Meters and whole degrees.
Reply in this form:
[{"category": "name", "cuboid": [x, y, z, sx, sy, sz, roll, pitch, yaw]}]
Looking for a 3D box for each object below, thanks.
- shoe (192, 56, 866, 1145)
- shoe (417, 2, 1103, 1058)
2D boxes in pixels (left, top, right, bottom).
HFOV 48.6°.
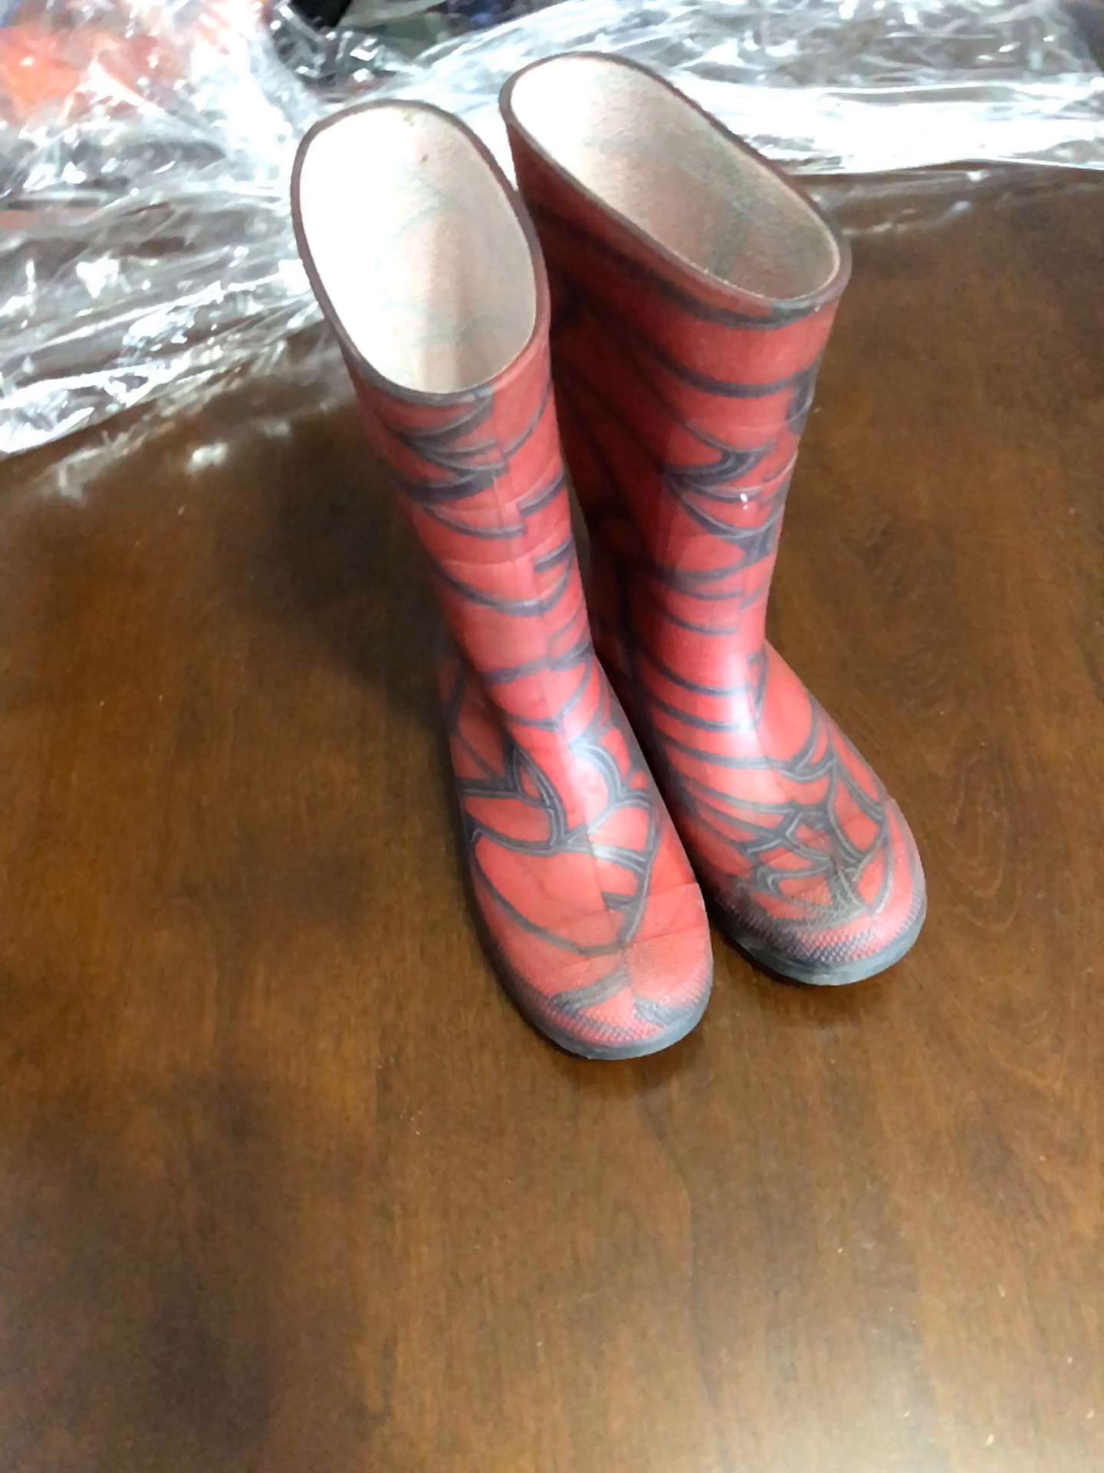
[{"category": "shoe", "cuboid": [-0.013, -0.026, 0.376, 0.080, 0.239, 0.220, -20, 58, -9]}, {"category": "shoe", "cuboid": [0.055, -0.050, 0.390, 0.080, 0.239, 0.220, -25, 59, -12]}]
